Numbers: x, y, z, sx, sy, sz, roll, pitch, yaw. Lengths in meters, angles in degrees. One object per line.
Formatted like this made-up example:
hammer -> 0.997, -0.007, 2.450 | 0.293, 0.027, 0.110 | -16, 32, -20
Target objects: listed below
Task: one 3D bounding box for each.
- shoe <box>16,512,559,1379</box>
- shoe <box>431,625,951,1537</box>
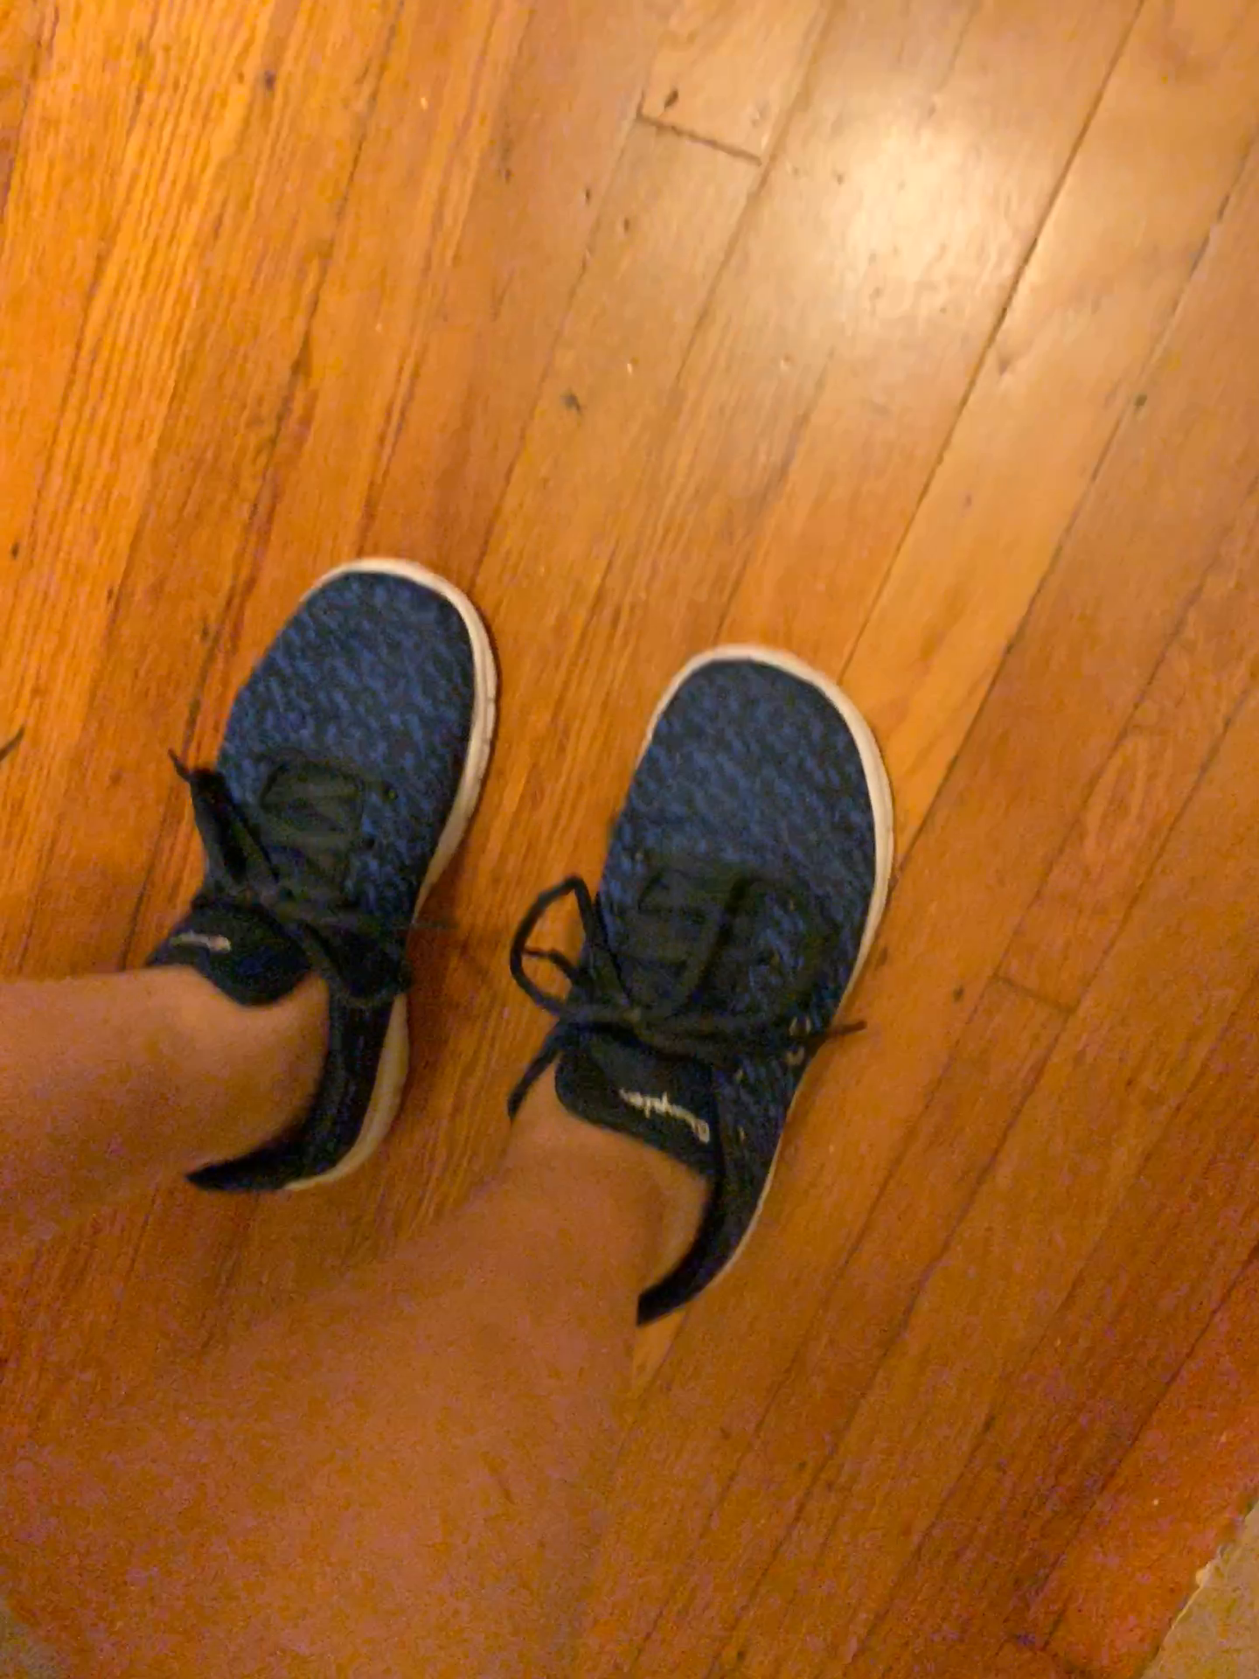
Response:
shoe -> -0.133, 0.031, 0.521 | 0.115, 0.149, 0.291 | 15, 105, 12
shoe -> 0.025, 0.074, 0.476 | 0.118, 0.130, 0.281 | 13, 105, 13
